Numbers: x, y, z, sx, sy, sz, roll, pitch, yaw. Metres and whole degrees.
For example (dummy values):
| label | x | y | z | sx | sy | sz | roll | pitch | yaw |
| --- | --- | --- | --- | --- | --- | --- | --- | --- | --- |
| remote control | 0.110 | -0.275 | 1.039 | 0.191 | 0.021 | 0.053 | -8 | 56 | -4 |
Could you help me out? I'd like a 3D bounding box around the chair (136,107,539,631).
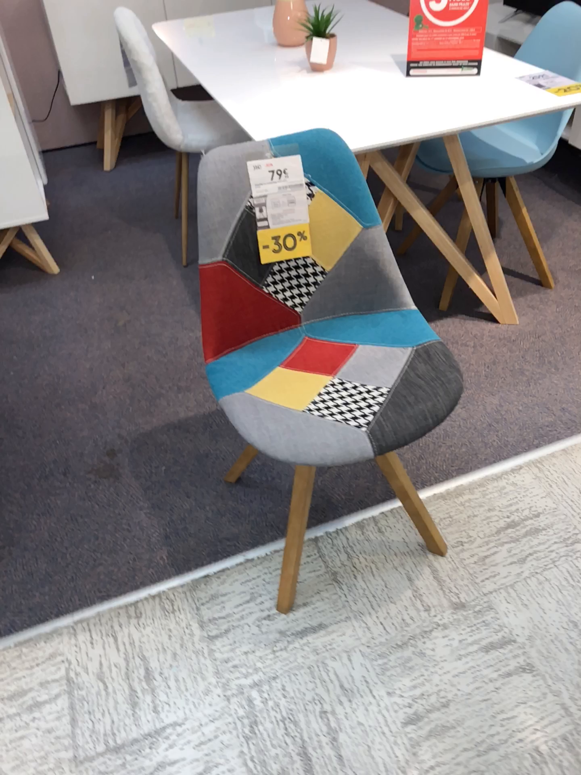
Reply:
| label | x | y | z | sx | sy | sz | roll | pitch | yaw |
| --- | --- | --- | --- | --- | --- | --- | --- | --- | --- |
| chair | 0.059 | -0.028 | 1.278 | 0.471 | 0.815 | 0.512 | -17 | 42 | -14 |
